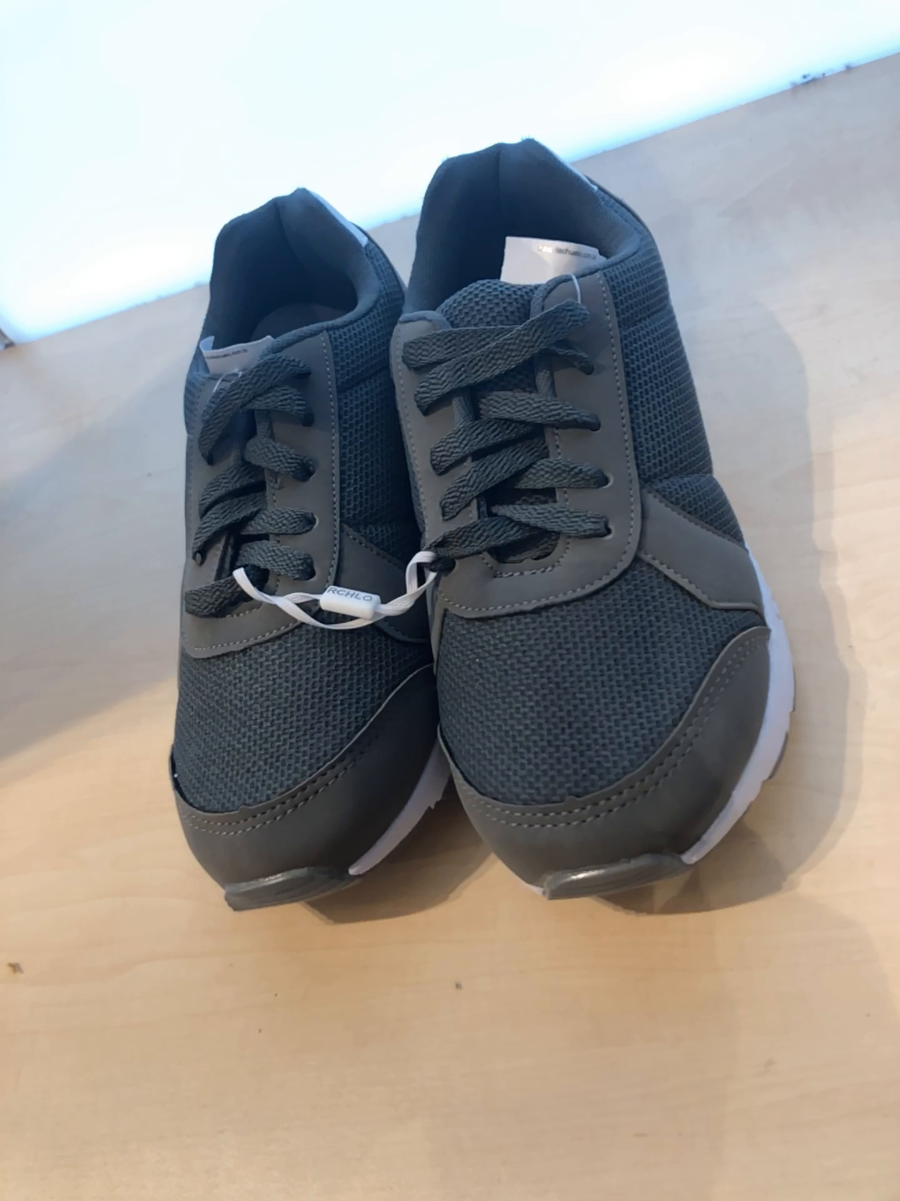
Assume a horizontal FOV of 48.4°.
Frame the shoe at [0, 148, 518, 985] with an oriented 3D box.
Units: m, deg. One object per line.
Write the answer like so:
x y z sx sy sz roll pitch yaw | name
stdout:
-0.047 -0.018 0.312 0.100 0.099 0.231 -13 52 16 | shoe

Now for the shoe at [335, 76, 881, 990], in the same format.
0.036 -0.030 0.293 0.100 0.099 0.241 -14 51 14 | shoe
